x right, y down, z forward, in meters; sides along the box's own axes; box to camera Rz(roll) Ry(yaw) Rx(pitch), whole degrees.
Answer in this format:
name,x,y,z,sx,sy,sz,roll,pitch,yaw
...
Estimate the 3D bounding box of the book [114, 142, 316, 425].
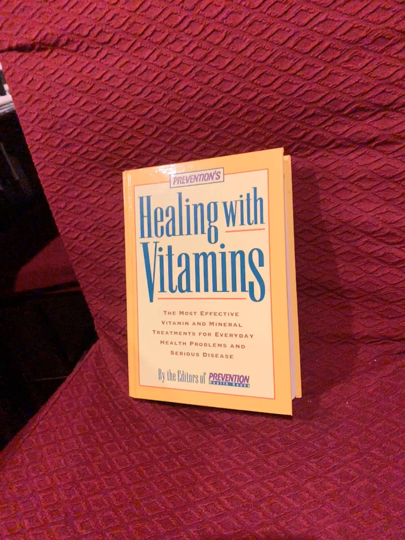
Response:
name,x,y,z,sx,sy,sz,roll,pitch,yaw
book,0.007,0.014,0.412,0.190,0.240,0.040,-2,-1,25
